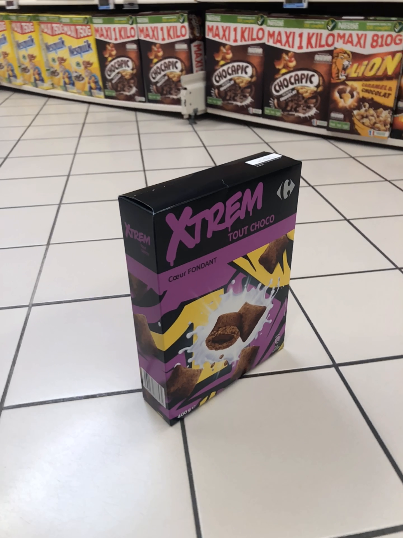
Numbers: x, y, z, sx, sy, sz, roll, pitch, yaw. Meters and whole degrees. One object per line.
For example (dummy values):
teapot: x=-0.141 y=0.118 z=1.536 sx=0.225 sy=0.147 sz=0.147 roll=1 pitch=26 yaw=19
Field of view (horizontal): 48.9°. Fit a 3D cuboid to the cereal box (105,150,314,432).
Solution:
cereal box: x=0.017 y=0.017 z=0.476 sx=0.201 sy=0.239 sz=0.070 roll=-24 pitch=37 yaw=-34
